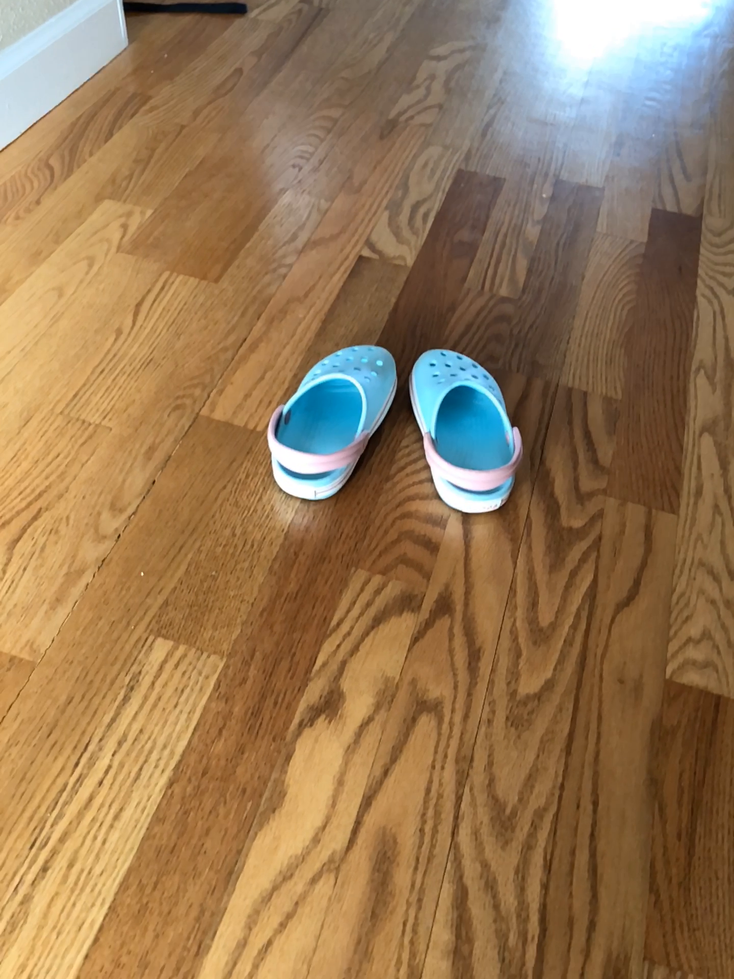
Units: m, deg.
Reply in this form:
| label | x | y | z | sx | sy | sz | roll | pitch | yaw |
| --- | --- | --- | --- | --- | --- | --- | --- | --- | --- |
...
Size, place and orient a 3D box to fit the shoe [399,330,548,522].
| label | x | y | z | sx | sy | sz | roll | pitch | yaw |
| --- | --- | --- | --- | --- | --- | --- | --- | --- | --- |
| shoe | 0.080 | -0.056 | 0.654 | 0.083 | 0.048 | 0.166 | -2 | 50 | -7 |

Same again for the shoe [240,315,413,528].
| label | x | y | z | sx | sy | sz | roll | pitch | yaw |
| --- | --- | --- | --- | --- | --- | --- | --- | --- | --- |
| shoe | -0.029 | -0.060 | 0.653 | 0.083 | 0.057 | 0.166 | 16 | 51 | 9 |
